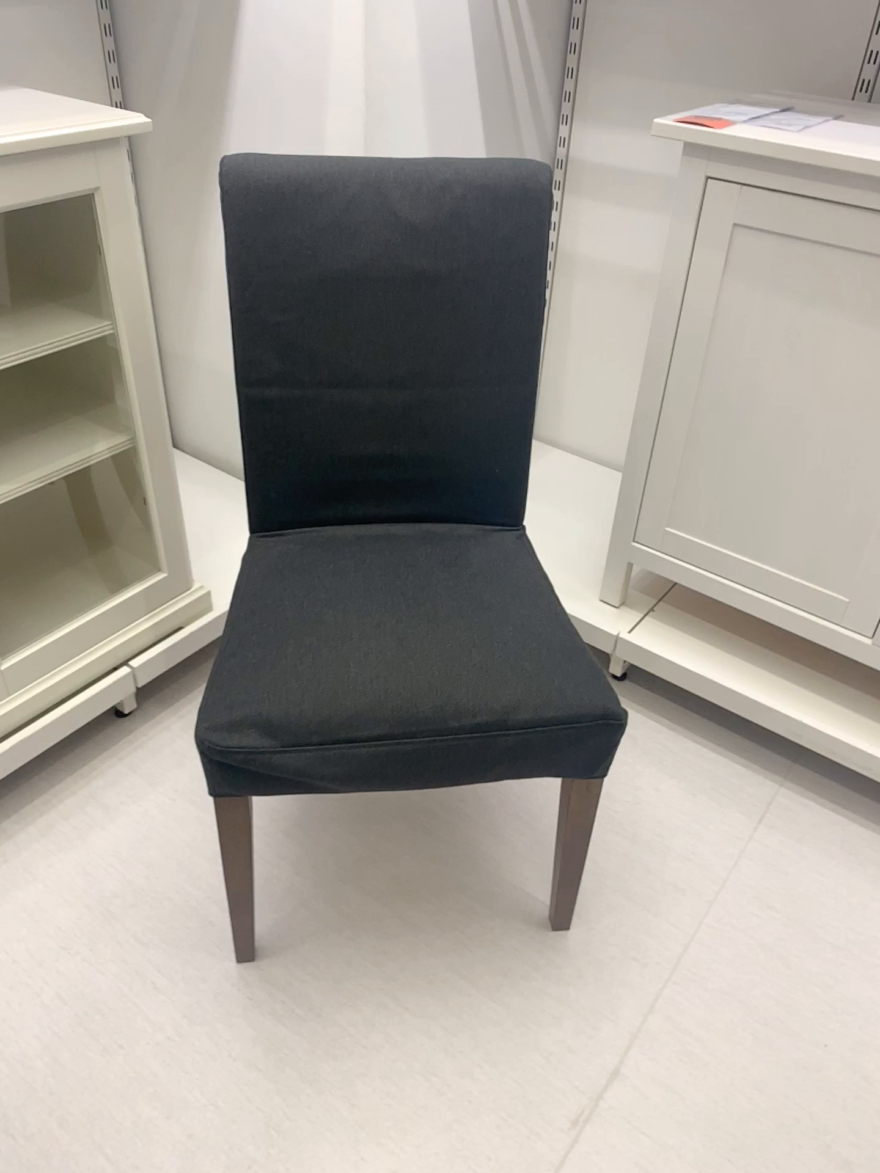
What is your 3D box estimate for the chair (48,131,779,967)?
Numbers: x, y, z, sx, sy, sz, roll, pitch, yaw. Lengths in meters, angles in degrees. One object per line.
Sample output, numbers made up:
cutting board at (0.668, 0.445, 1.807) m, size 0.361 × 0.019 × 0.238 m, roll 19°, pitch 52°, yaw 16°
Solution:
chair at (-0.063, -0.057, 1.151) m, size 0.540 × 0.837 × 0.612 m, roll -3°, pitch 37°, yaw -7°
